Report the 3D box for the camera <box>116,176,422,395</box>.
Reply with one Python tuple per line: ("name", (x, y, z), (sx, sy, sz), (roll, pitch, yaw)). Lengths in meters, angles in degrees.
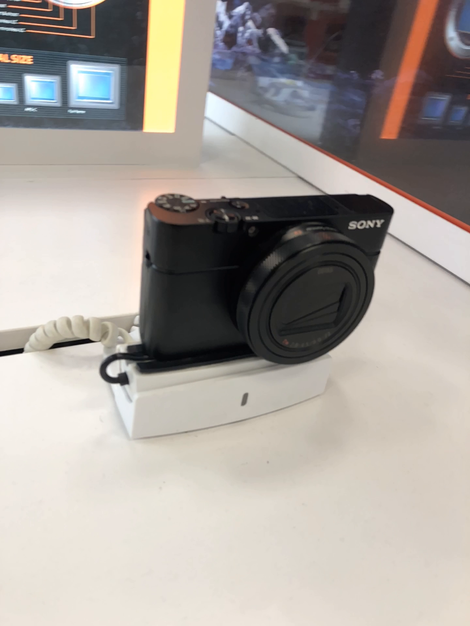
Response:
("camera", (0.012, -0.016, 0.215), (0.110, 0.070, 0.040), (-7, 34, -26))
